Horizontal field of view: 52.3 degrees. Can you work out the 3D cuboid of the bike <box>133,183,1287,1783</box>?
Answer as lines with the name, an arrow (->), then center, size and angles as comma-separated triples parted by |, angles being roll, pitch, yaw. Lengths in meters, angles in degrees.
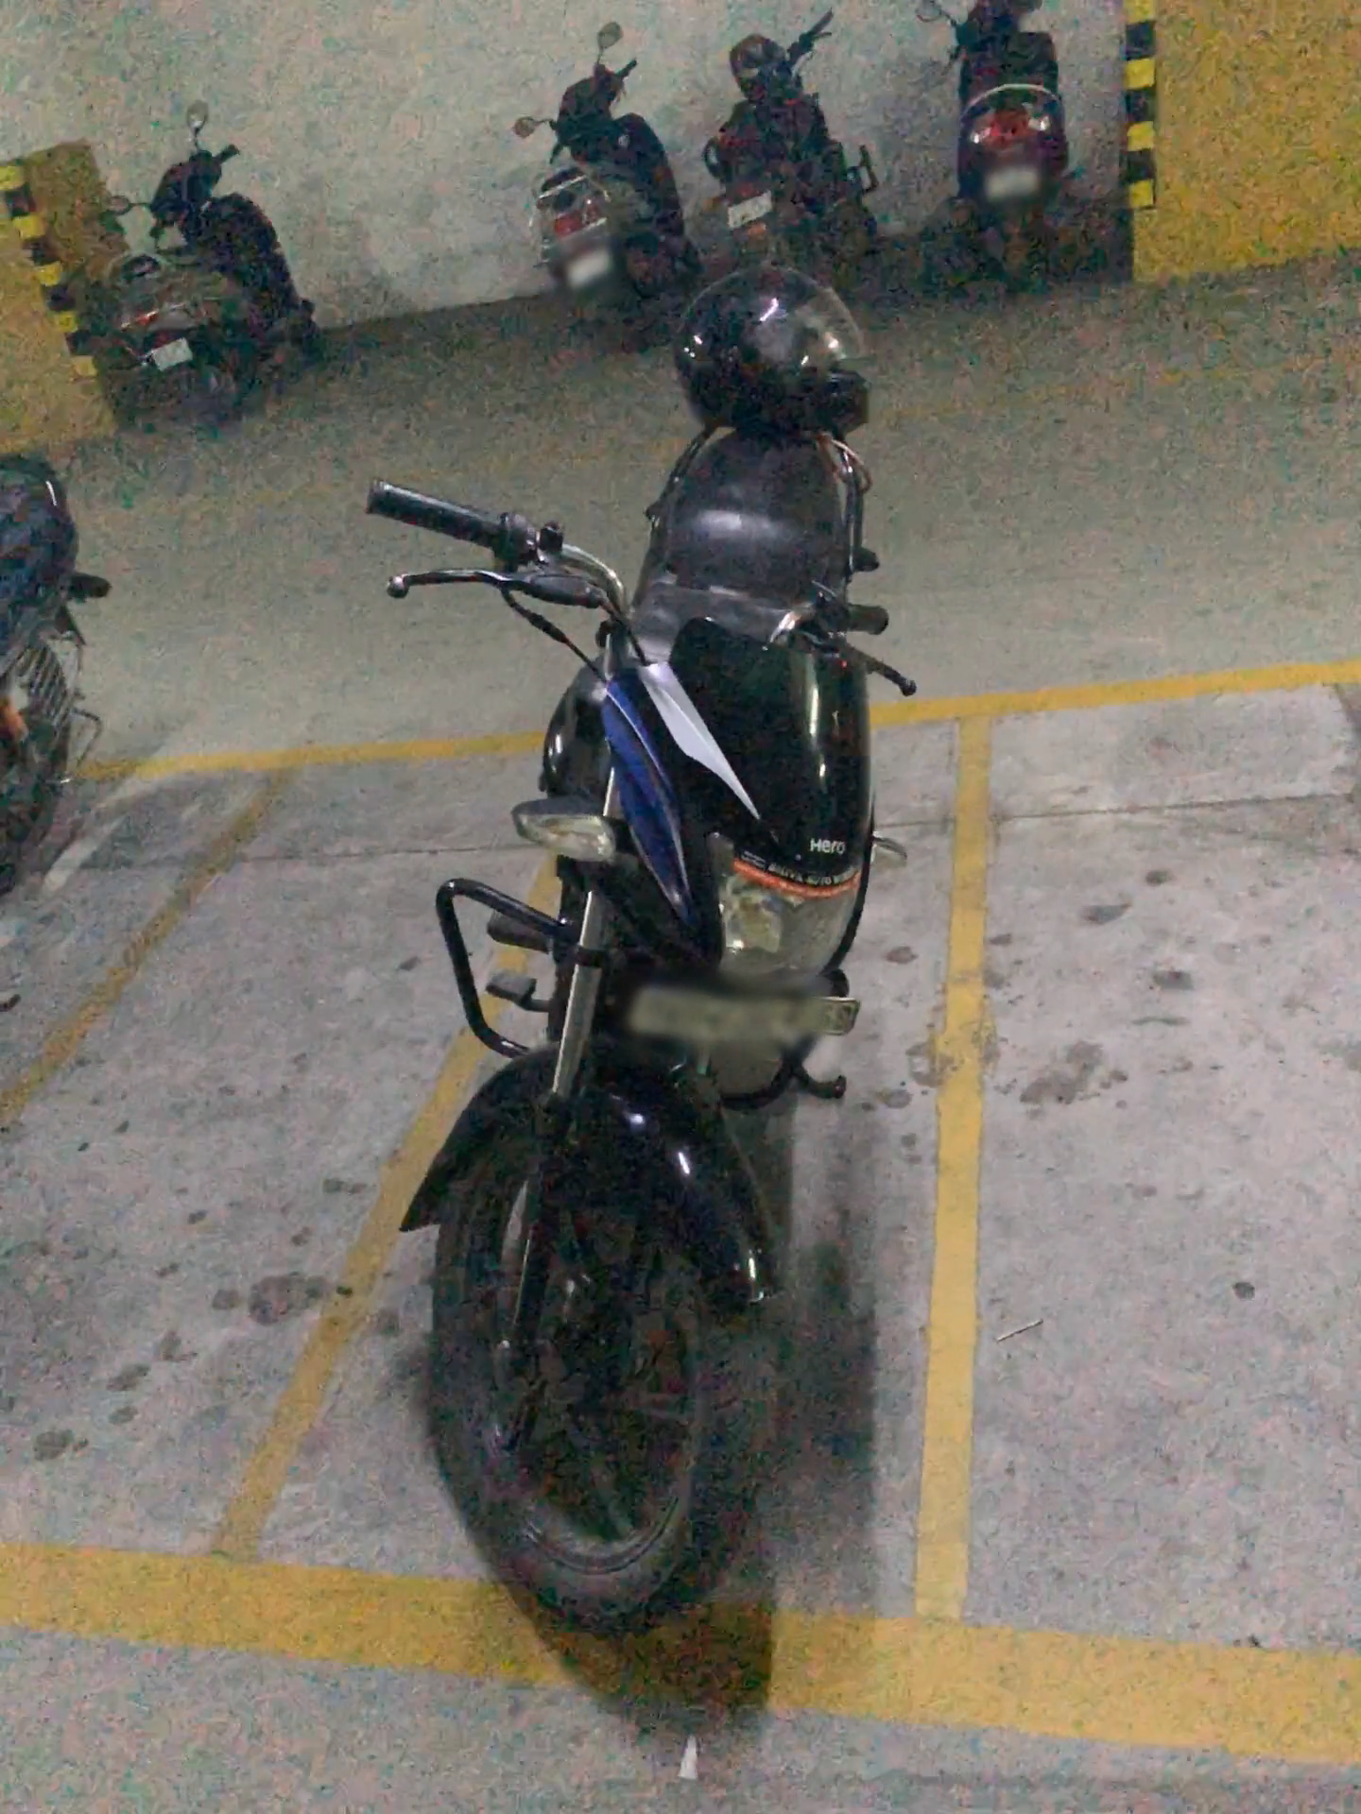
bike -> 0.142, -0.084, 1.884 | 0.767, 1.156, 1.724 | -6, 37, 10
